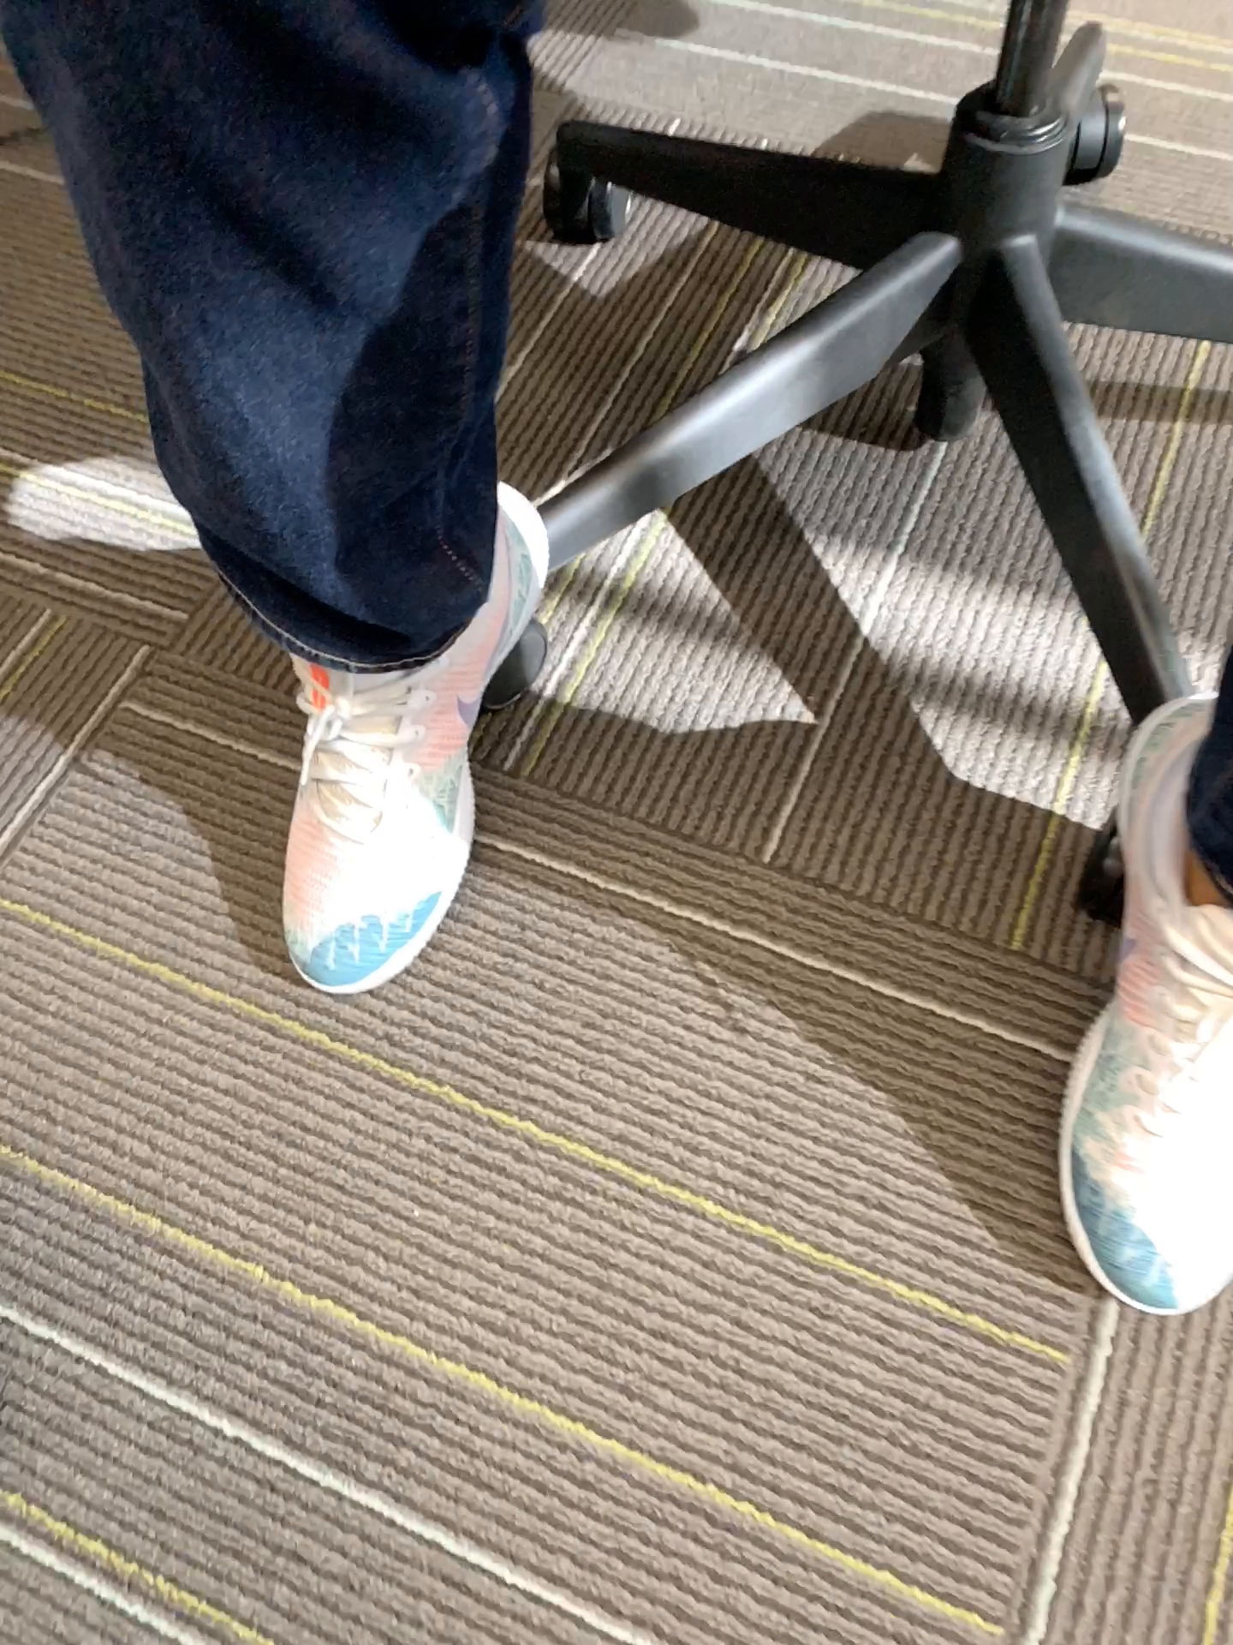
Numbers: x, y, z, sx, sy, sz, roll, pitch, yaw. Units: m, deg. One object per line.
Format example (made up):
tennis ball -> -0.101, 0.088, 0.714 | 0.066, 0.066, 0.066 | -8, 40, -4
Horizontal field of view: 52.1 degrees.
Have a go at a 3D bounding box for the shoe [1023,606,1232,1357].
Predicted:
shoe -> 0.269, 0.069, 0.589 | 0.113, 0.109, 0.310 | 7, 73, 7

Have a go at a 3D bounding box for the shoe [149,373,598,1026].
shoe -> -0.109, -0.066, 0.647 | 0.106, 0.109, 0.303 | 13, 70, 11
